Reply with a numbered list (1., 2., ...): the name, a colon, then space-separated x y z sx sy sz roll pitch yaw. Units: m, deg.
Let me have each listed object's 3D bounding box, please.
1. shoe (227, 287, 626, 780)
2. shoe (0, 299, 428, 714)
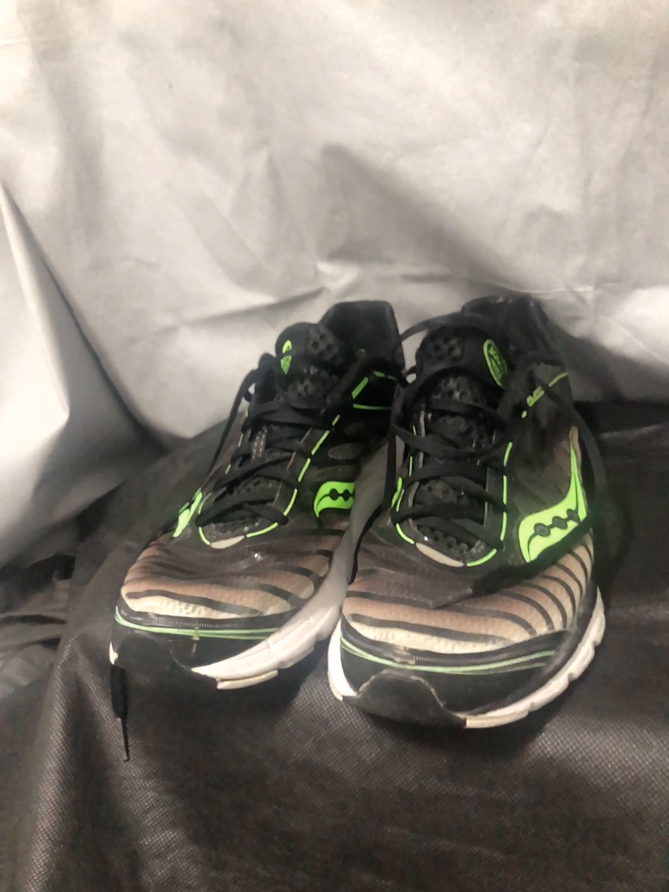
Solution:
1. shoe: 0.065 0.012 0.339 0.114 0.097 0.225 3 30 23
2. shoe: -0.042 0.008 0.388 0.117 0.096 0.225 3 30 23
